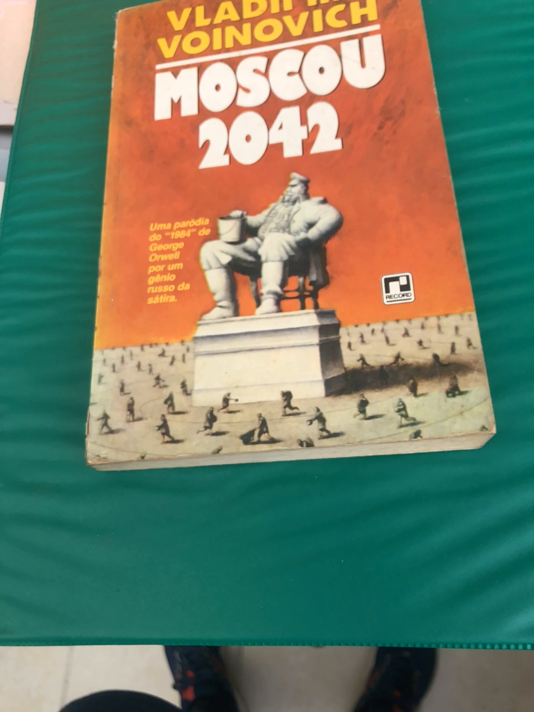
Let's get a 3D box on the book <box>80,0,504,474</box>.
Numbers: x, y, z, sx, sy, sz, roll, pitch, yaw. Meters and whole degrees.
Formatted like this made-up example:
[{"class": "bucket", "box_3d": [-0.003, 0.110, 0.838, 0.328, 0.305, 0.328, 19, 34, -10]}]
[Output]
[{"class": "book", "box_3d": [0.002, -0.063, 0.230, 0.132, 0.020, 0.204, -5, 70, 8]}]
